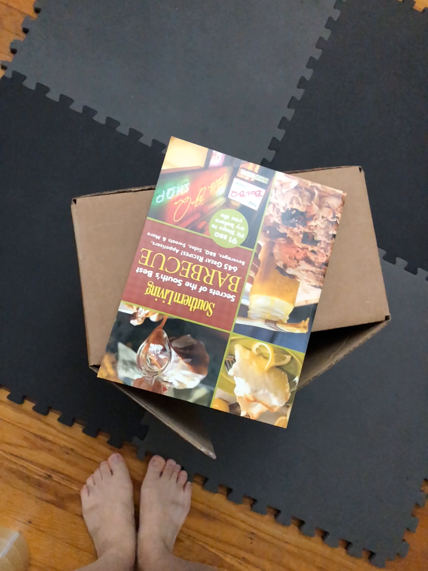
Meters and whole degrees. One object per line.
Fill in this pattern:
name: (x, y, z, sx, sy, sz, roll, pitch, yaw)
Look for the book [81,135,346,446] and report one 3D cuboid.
book: (0.006, 0.002, 0.524, 0.220, 0.020, 0.290, 16, 82, -4)
